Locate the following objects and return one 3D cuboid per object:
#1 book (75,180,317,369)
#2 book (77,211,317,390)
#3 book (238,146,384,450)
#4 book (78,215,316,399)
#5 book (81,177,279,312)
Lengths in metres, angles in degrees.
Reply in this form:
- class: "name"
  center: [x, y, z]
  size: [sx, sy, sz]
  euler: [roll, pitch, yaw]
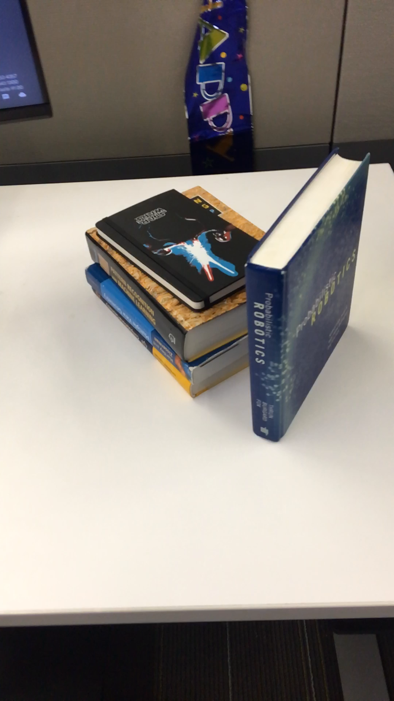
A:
- class: "book"
  center: [-0.008, -0.106, 0.702]
  size: [0.180, 0.050, 0.240]
  euler: [-28, 51, -21]
- class: "book"
  center: [-0.006, -0.078, 0.730]
  size: [0.190, 0.030, 0.240]
  euler: [-31, 51, -23]
- class: "book"
  center: [0.114, -0.051, 0.599]
  size: [0.050, 0.230, 0.210]
  euler: [21, 51, 23]
- class: "book"
  center: [-0.008, -0.072, 0.753]
  size: [0.190, 0.030, 0.260]
  euler: [-29, 51, -22]
- class: "book"
  center: [-0.024, -0.131, 0.671]
  size: [0.130, 0.020, 0.200]
  euler: [-33, 52, -24]
